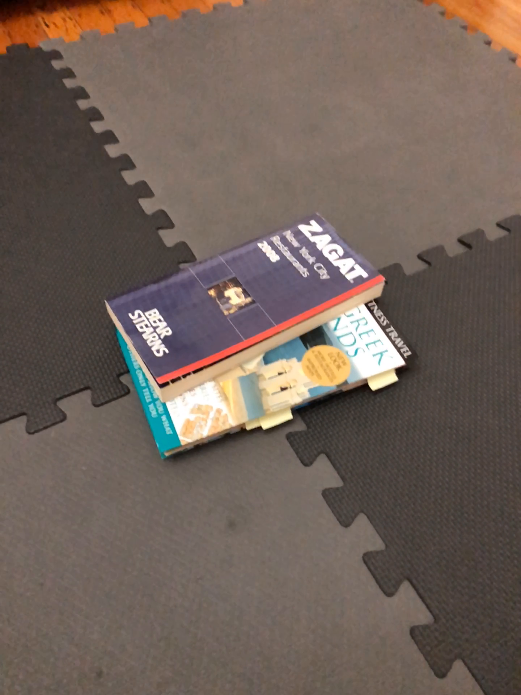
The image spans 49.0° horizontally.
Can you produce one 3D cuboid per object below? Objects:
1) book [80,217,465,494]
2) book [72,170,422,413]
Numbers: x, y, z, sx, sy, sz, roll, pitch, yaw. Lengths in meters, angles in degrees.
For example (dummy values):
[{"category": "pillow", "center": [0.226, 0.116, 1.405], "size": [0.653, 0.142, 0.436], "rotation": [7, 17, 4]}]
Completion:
[{"category": "book", "center": [0.006, -0.010, 0.468], "size": [0.260, 0.030, 0.171], "rotation": [-19, 56, -15]}, {"category": "book", "center": [-0.010, -0.063, 0.484], "size": [0.250, 0.020, 0.150], "rotation": [-26, 59, -20]}]
